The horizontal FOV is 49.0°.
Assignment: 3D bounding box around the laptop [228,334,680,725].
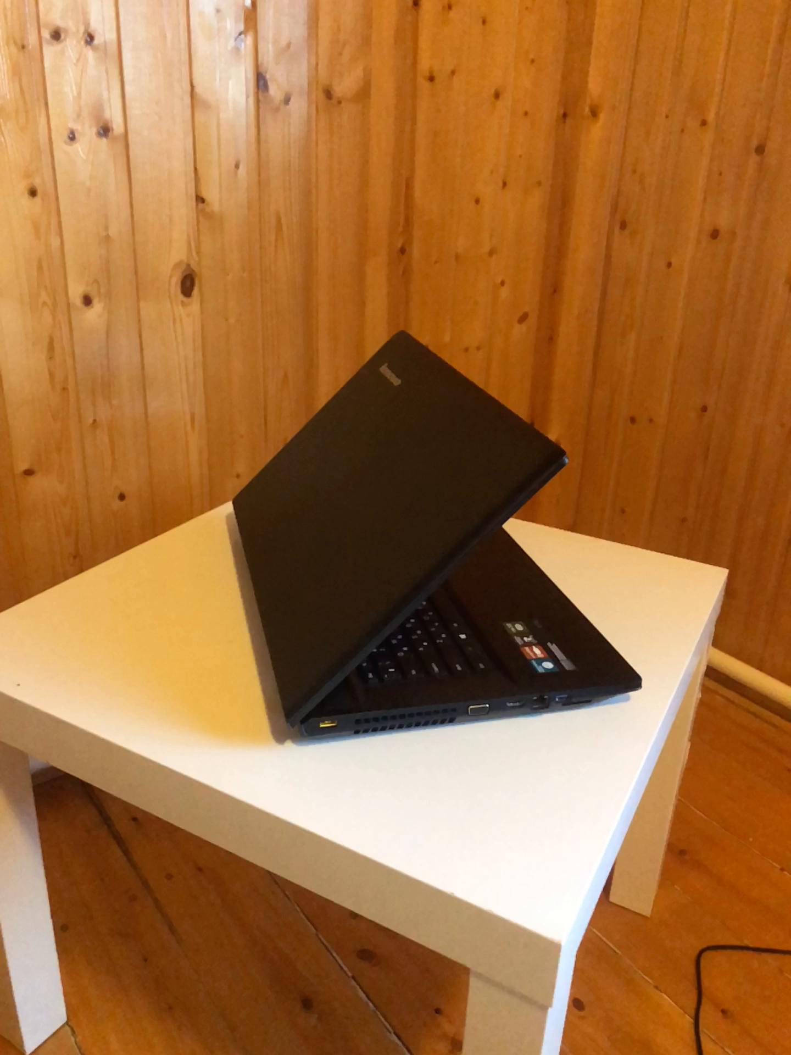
[{"bbox_3d":[0.009,-0.039,0.777,0.271,0.185,0.412,-4,24,-15],"label":"laptop"}]
